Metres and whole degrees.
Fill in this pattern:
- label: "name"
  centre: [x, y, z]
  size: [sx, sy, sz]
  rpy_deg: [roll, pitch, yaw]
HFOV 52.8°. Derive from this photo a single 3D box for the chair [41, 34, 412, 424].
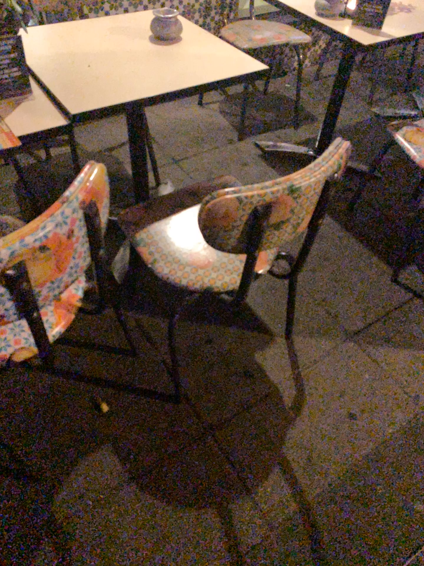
- label: "chair"
  centre: [-0.008, -0.135, 1.135]
  size: [0.522, 0.694, 0.573]
  rpy_deg: [-27, 57, -24]
